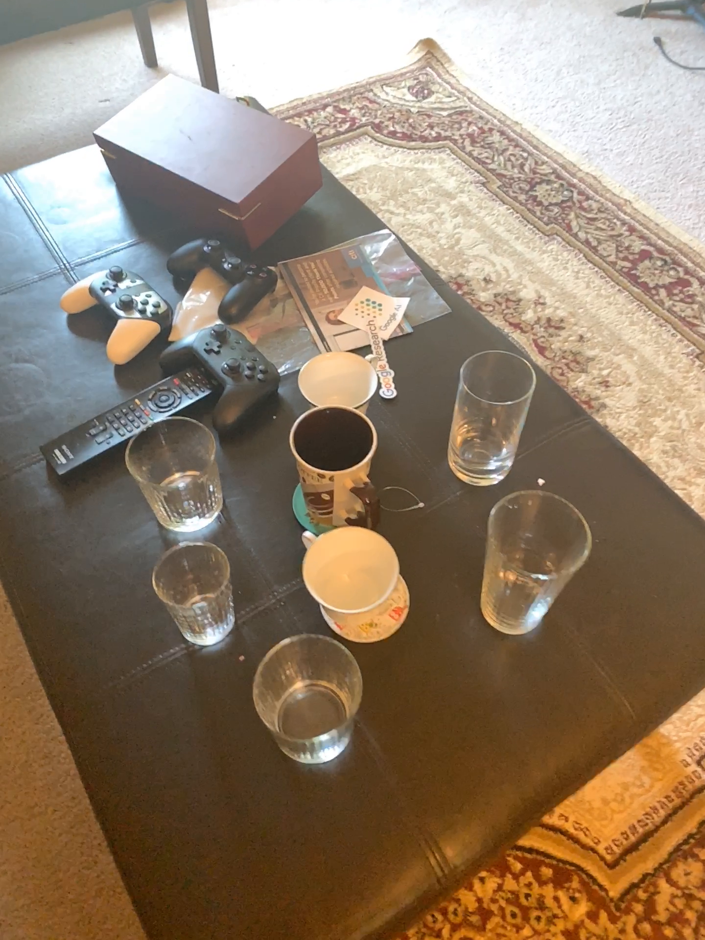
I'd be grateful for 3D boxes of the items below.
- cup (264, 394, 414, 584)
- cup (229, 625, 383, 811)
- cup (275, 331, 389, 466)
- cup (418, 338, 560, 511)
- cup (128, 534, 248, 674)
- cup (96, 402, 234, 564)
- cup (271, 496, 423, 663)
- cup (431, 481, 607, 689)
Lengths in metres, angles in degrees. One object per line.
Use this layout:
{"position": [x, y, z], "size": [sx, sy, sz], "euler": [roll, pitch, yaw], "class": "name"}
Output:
{"position": [-0.016, 0.020, 0.752], "size": [0.090, 0.120, 0.130], "euler": [-28, 60, -20], "class": "cup"}
{"position": [-0.040, 0.220, 0.634], "size": [0.090, 0.120, 0.090], "euler": [1, 55, -1], "class": "cup"}
{"position": [-0.022, -0.084, 0.840], "size": [0.090, 0.080, 0.110], "euler": [20, 57, 12], "class": "cup"}
{"position": [0.141, -0.047, 0.776], "size": [0.090, 0.139, 0.090], "euler": [1, 55, -1], "class": "cup"}
{"position": [-0.154, 0.129, 0.687], "size": [0.070, 0.100, 0.070], "euler": [1, 55, -1], "class": "cup"}
{"position": [-0.194, 0.015, 0.762], "size": [0.090, 0.120, 0.090], "euler": [1, 55, -1], "class": "cup"}
{"position": [-0.006, 0.103, 0.692], "size": [0.090, 0.070, 0.110], "euler": [-35, 63, -23], "class": "cup"}
{"position": [0.149, 0.116, 0.687], "size": [0.090, 0.189, 0.090], "euler": [1, 55, -1], "class": "cup"}
